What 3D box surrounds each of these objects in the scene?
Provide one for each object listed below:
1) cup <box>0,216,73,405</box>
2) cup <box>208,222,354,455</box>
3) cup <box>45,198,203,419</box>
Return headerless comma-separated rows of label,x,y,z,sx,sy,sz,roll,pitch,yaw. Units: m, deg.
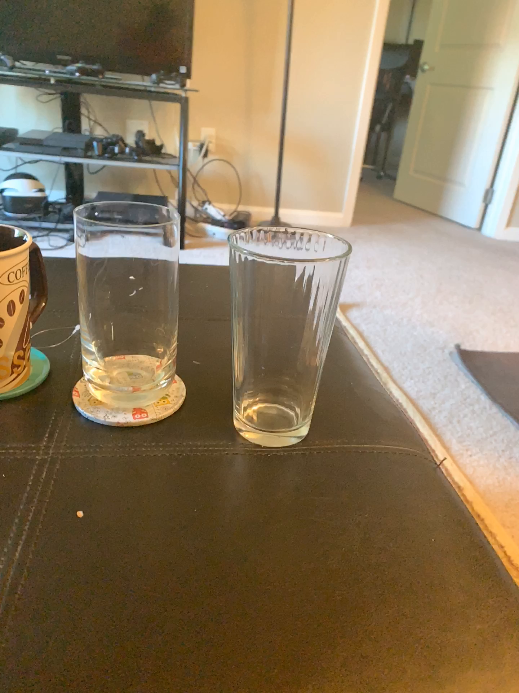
cup,-0.207,-0.031,0.399,0.090,0.099,0.090,5,26,-2
cup,0.012,-0.007,0.387,0.080,0.139,0.080,5,26,-2
cup,-0.093,-0.030,0.390,0.080,0.129,0.080,5,26,-2
